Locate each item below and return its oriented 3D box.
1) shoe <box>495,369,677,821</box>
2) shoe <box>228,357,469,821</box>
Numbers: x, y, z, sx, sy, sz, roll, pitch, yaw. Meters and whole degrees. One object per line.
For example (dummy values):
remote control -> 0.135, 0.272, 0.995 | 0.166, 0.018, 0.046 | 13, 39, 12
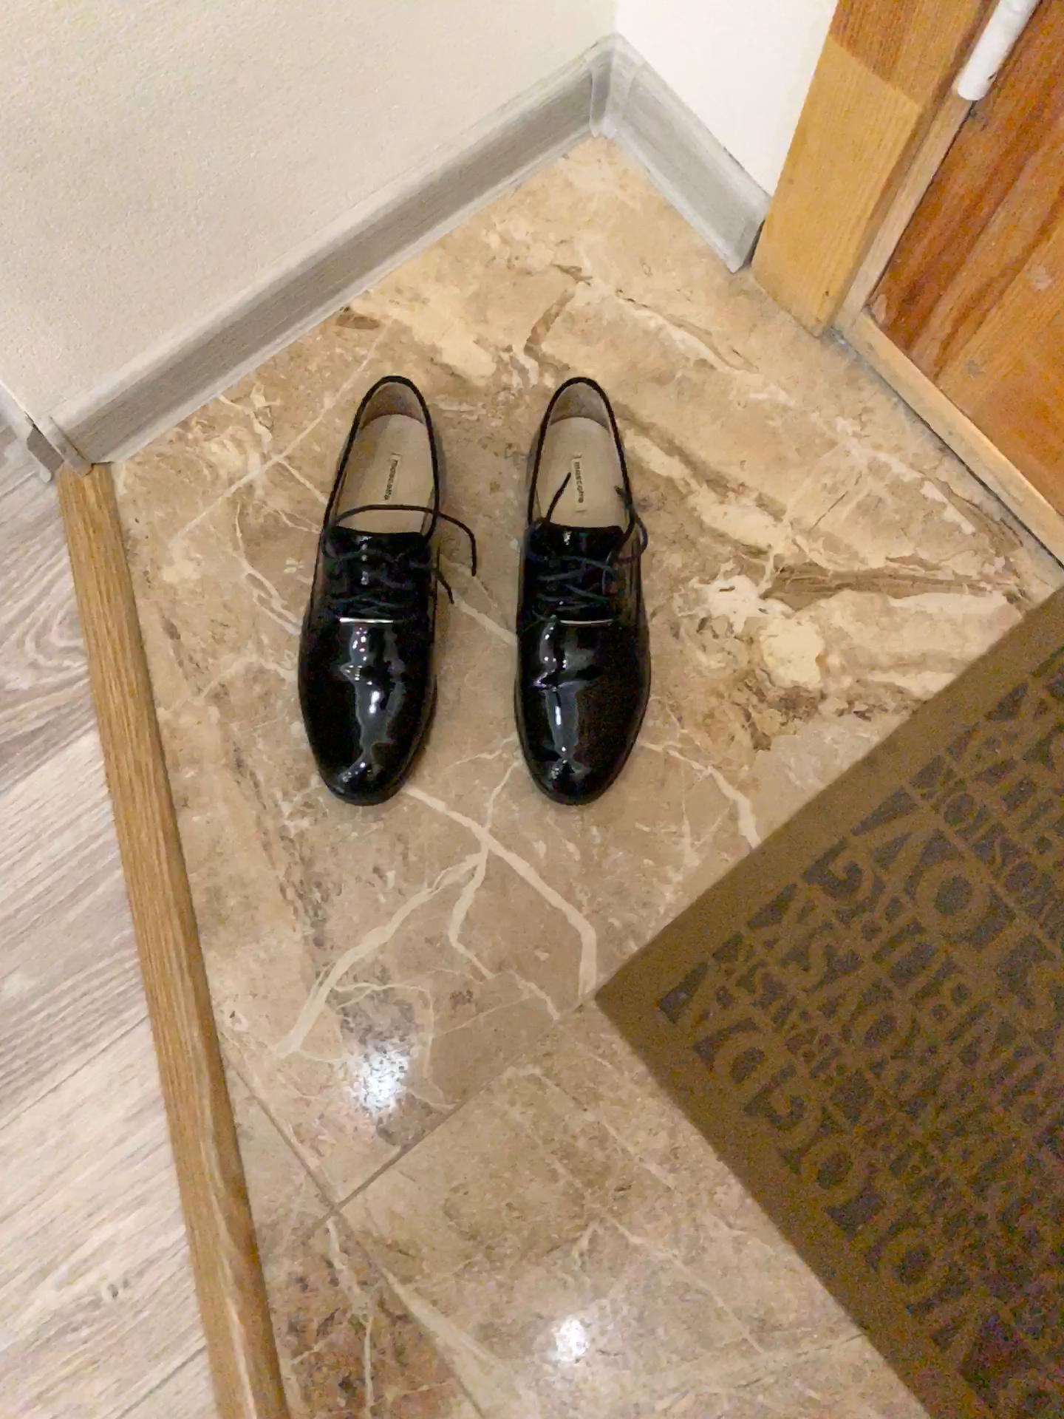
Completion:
shoe -> 0.029, -0.060, 0.623 | 0.090, 0.110, 0.230 | 2, 77, -1
shoe -> -0.095, -0.063, 0.618 | 0.086, 0.110, 0.230 | 6, 77, 0
